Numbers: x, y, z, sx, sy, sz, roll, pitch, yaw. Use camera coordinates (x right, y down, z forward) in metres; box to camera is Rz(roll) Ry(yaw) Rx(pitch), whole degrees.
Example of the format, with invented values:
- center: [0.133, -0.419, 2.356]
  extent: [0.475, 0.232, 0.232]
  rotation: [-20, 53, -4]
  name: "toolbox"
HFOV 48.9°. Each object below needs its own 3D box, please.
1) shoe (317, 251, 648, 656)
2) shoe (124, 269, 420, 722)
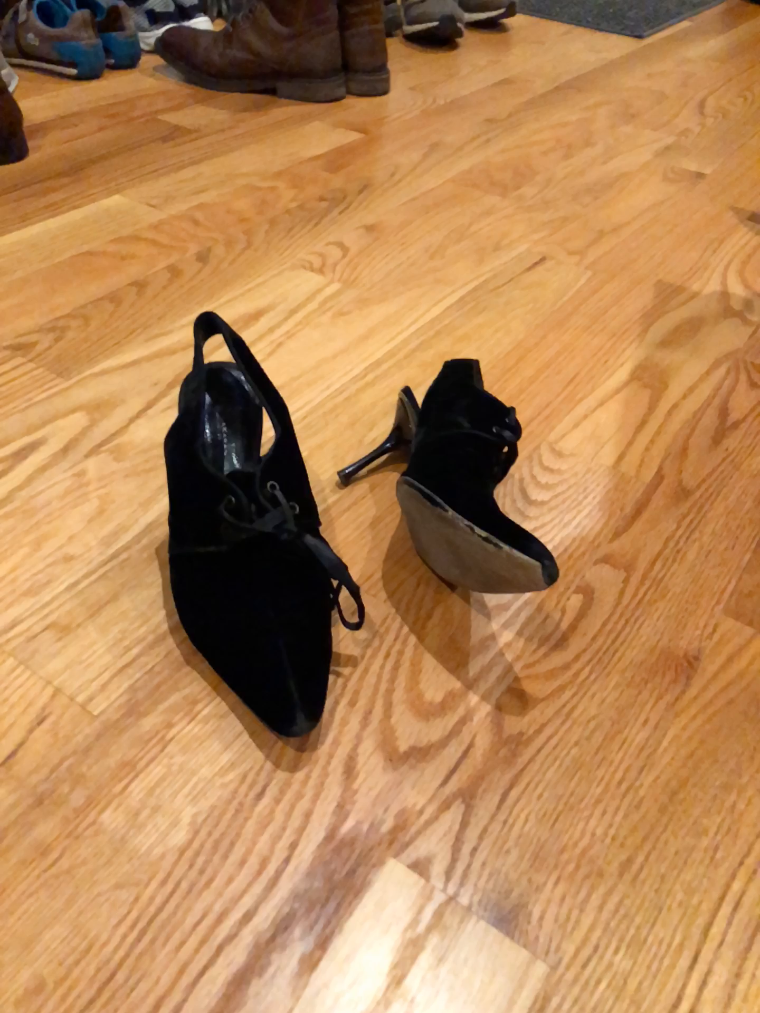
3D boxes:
- center: [0.040, -0.049, 0.513]
  extent: [0.118, 0.106, 0.253]
  rotation: [-6, 42, -11]
  name: "shoe"
- center: [-0.075, -0.025, 0.488]
  extent: [0.107, 0.117, 0.253]
  rotation: [-9, 43, -16]
  name: "shoe"
